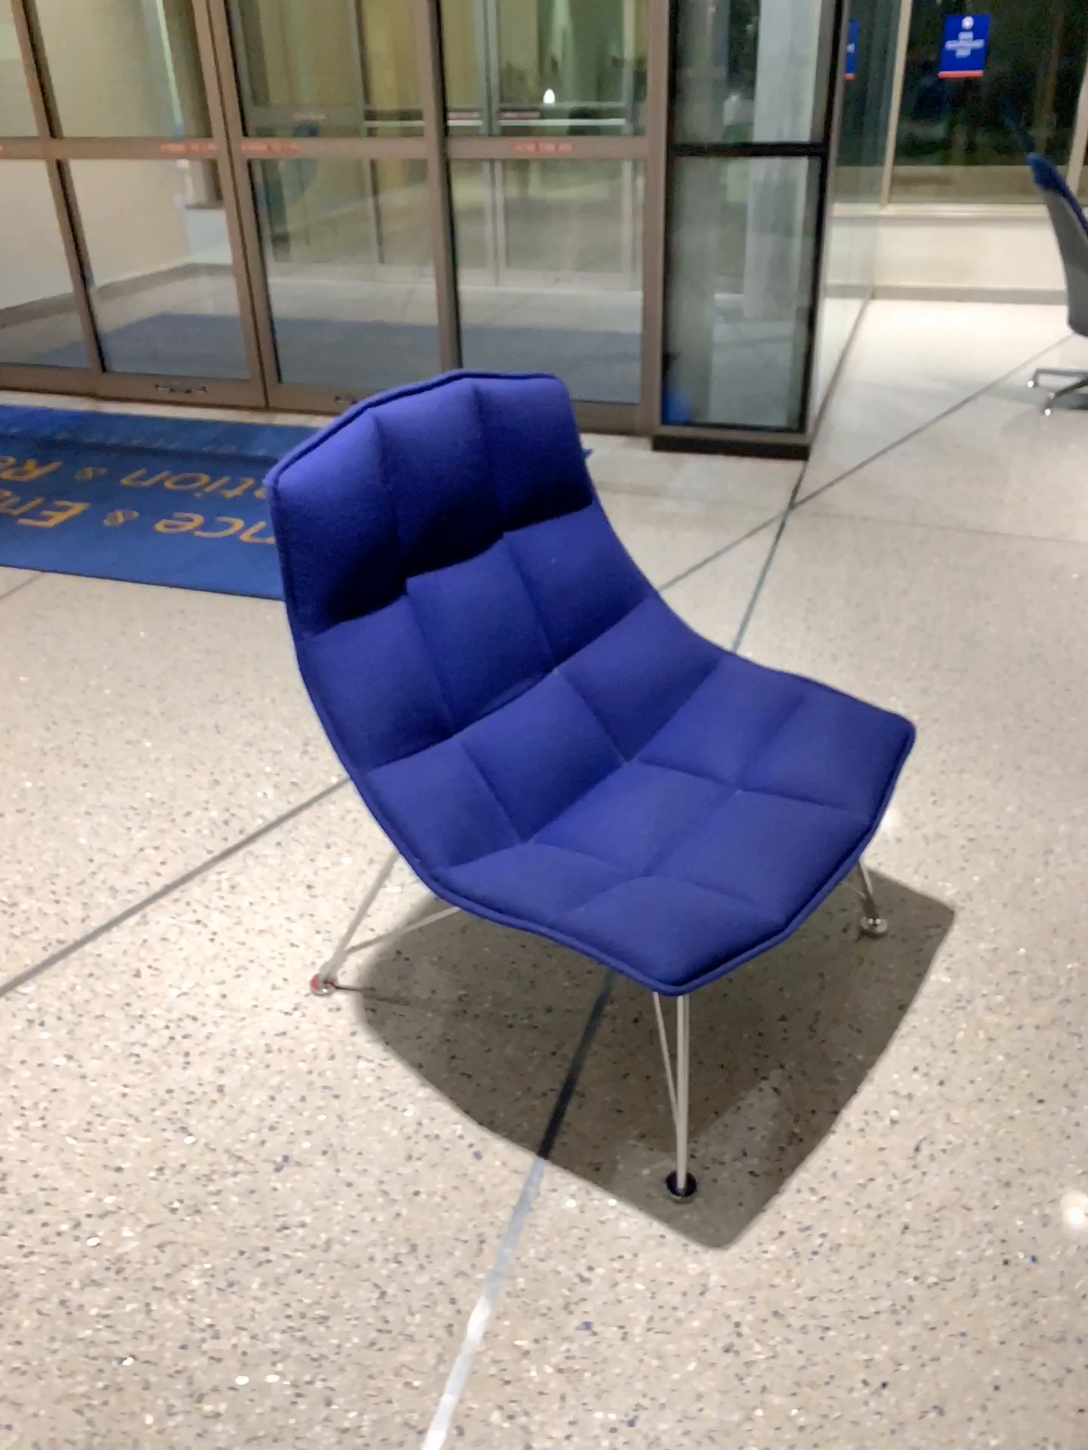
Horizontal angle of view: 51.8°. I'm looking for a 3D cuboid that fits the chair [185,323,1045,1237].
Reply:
[{"bbox_3d":[0.133,-0.030,1.712,0.796,0.894,0.859,20,37,33],"label":"chair"}]
